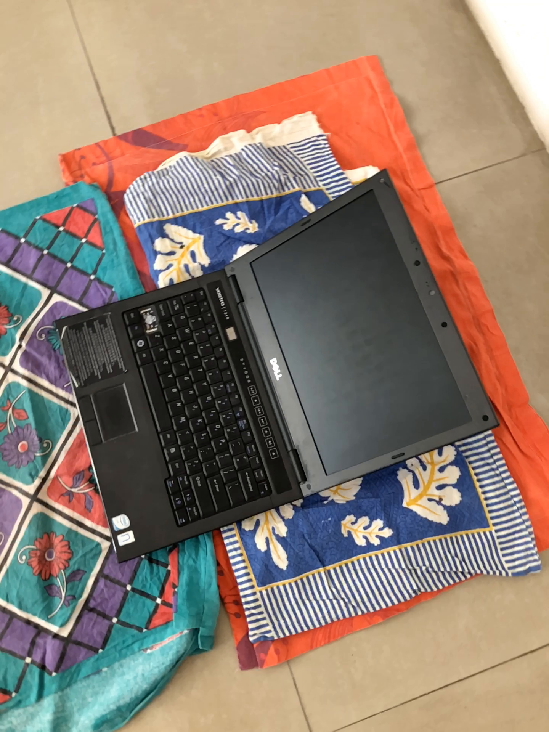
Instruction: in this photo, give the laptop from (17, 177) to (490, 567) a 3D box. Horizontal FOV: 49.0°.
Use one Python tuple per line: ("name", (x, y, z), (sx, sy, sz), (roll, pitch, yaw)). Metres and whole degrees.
("laptop", (-0.027, 0.002, 0.692), (0.420, 0.125, 0.306), (-18, 75, -7))
